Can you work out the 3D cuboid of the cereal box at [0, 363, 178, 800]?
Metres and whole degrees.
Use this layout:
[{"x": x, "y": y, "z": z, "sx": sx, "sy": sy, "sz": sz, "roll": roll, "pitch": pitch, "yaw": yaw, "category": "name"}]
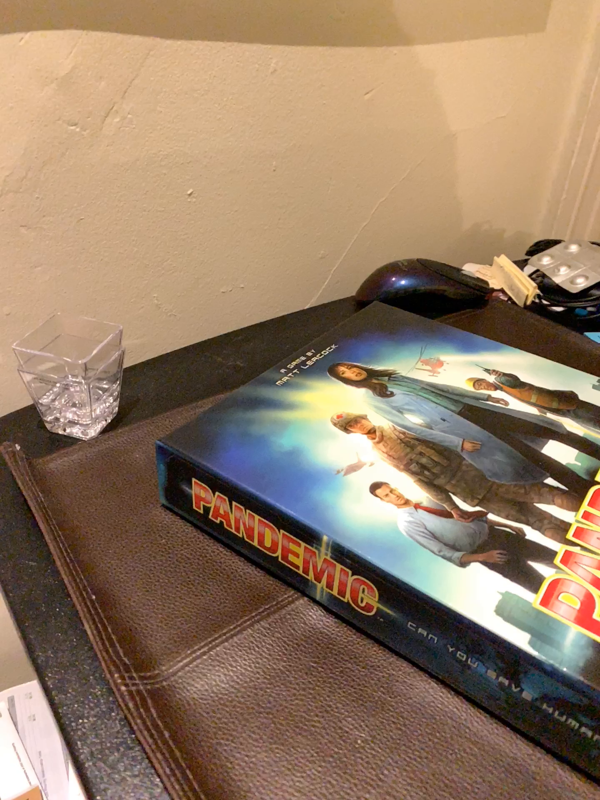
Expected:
[{"x": -0.525, "y": 0.515, "z": 0.867, "sx": 0.510, "sy": 0.994, "sz": 0.473, "roll": 5, "pitch": 36, "yaw": 4, "category": "cereal box"}]
